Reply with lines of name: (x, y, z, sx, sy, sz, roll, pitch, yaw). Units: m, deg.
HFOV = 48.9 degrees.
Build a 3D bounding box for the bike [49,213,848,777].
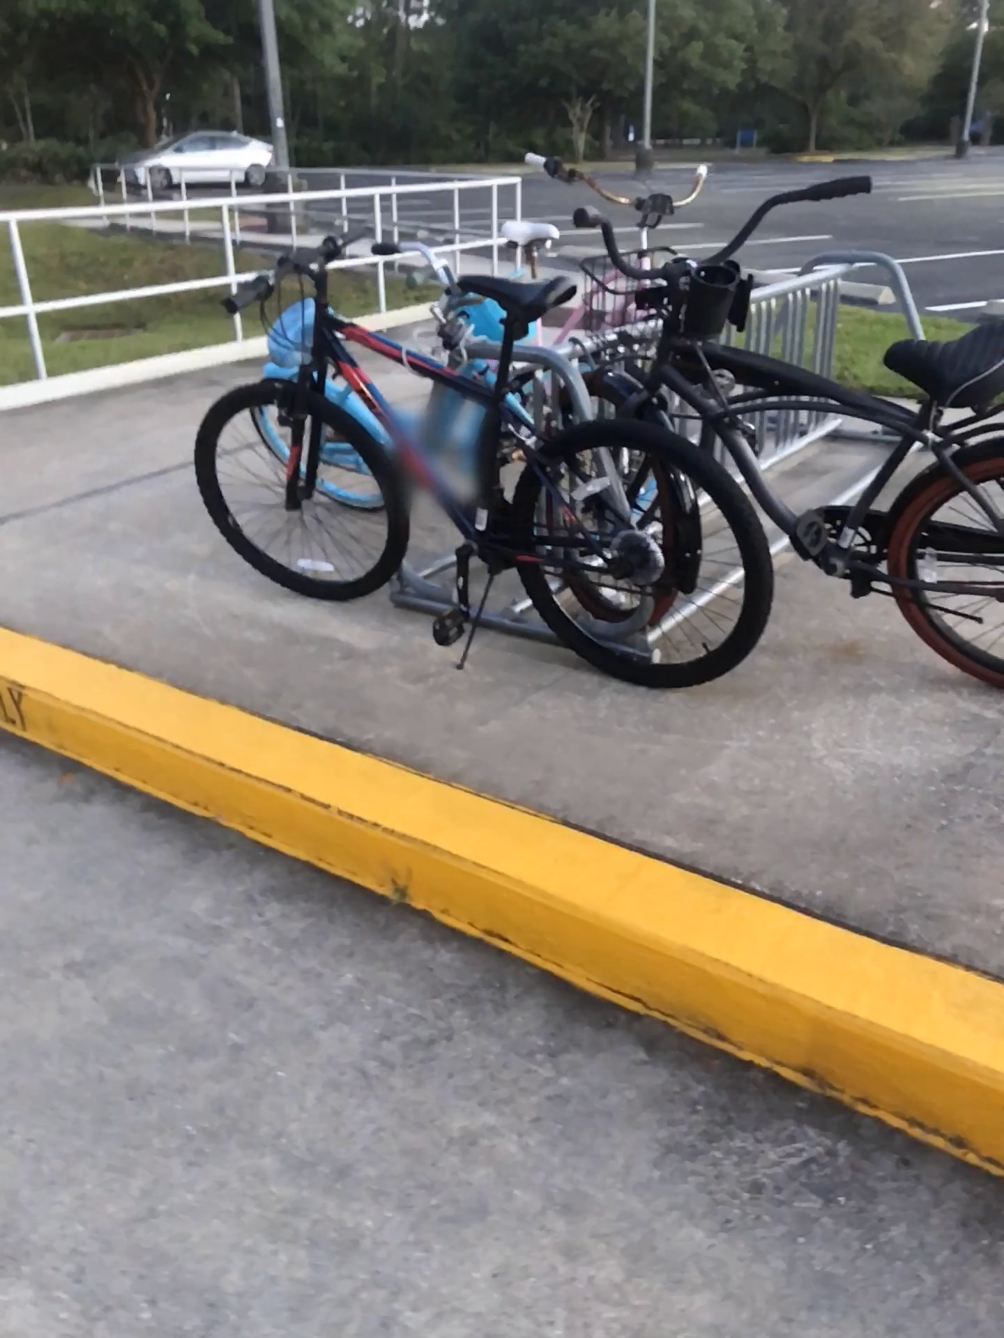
bike: (-0.158, -0.513, 2.572, 1.632, 0.932, 0.626, 15, 29, 28)
